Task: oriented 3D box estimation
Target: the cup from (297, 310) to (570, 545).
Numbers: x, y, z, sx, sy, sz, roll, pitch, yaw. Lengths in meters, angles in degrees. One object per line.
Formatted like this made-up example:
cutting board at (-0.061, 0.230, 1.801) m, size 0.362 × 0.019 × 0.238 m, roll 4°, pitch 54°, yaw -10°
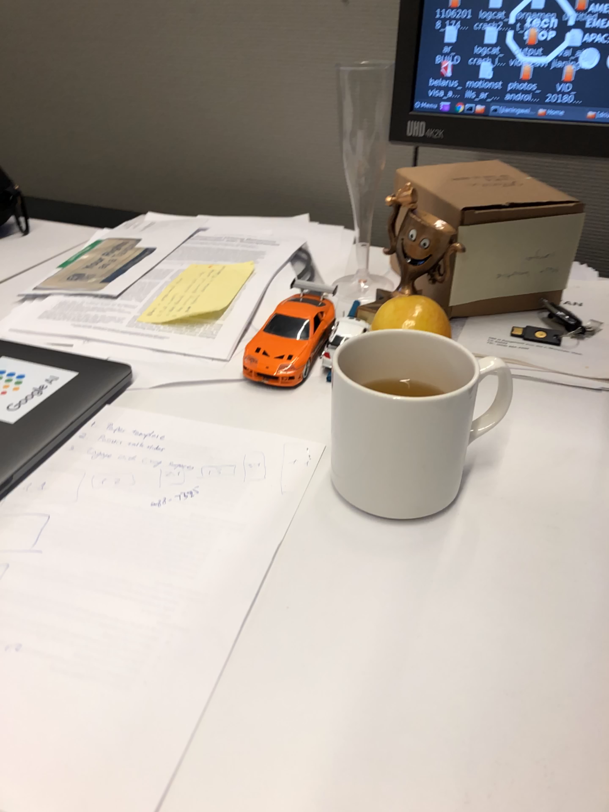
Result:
cup at (0.067, 0.007, 0.379) m, size 0.120 × 0.080 × 0.080 m, roll -12°, pitch 34°, yaw -19°
